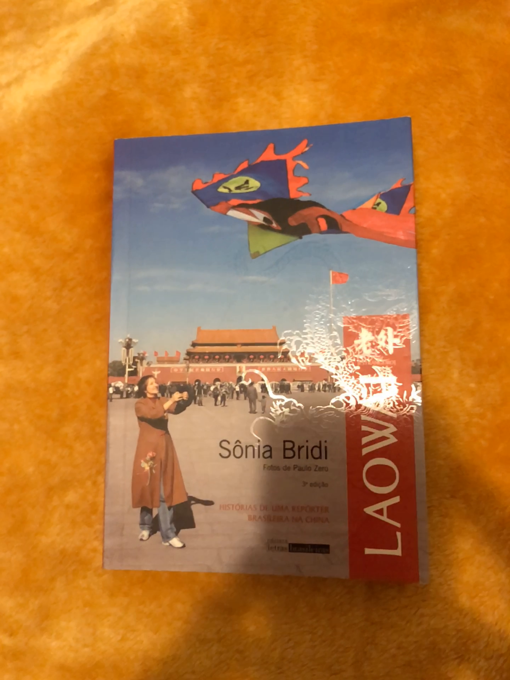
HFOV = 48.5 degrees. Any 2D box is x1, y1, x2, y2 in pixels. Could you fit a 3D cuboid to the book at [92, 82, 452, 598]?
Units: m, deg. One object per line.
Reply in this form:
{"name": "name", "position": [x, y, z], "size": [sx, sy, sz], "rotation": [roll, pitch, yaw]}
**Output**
{"name": "book", "position": [0.007, -0.002, 0.299], "size": [0.170, 0.040, 0.240], "rotation": [-2, 82, 12]}
